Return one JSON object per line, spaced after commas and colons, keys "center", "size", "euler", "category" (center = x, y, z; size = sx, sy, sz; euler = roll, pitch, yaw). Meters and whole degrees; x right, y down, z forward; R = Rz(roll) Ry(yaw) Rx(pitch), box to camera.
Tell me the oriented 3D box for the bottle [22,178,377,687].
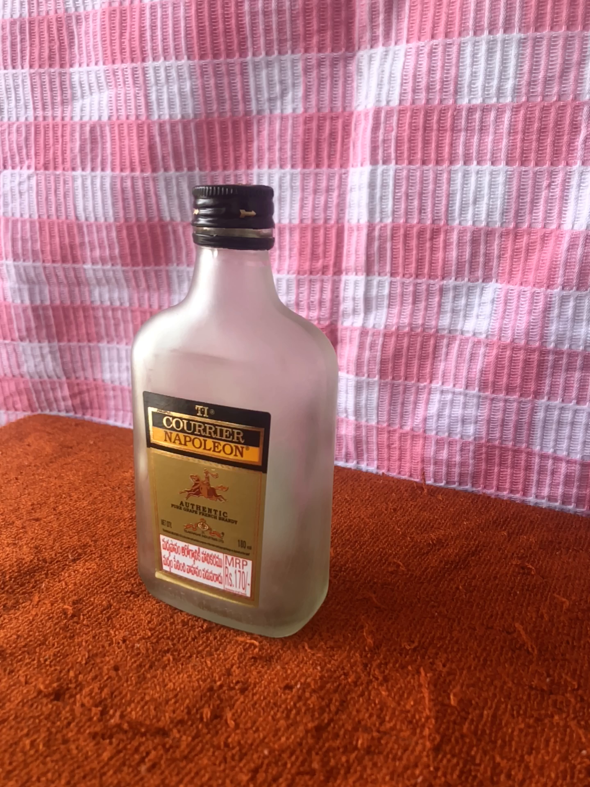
{"center": [-0.026, 0.005, 0.197], "size": [0.080, 0.129, 0.050], "euler": [10, 20, 23], "category": "bottle"}
